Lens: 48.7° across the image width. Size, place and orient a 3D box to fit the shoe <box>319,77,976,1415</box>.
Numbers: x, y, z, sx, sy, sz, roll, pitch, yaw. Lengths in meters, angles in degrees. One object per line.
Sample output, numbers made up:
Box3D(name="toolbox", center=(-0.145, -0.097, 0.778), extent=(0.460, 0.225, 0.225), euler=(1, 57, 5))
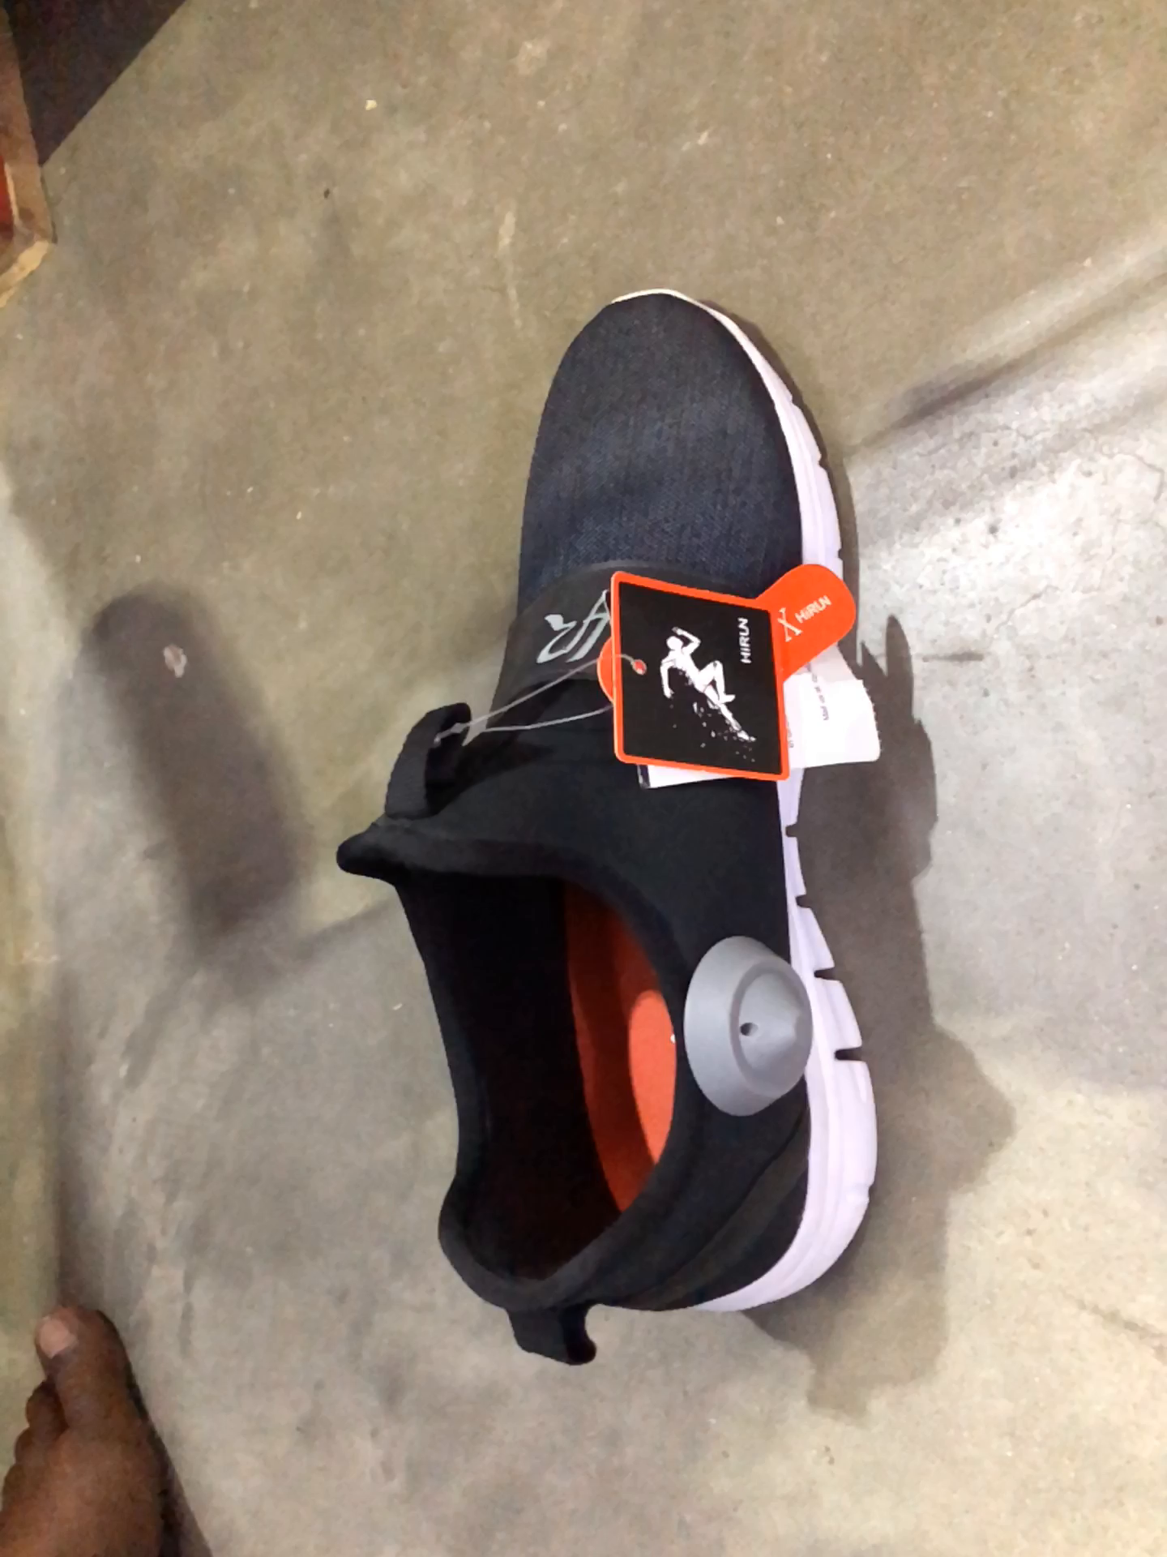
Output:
Box3D(name="shoe", center=(0.018, -0.005, 0.337), extent=(0.100, 0.129, 0.270), euler=(-9, 79, 34))
